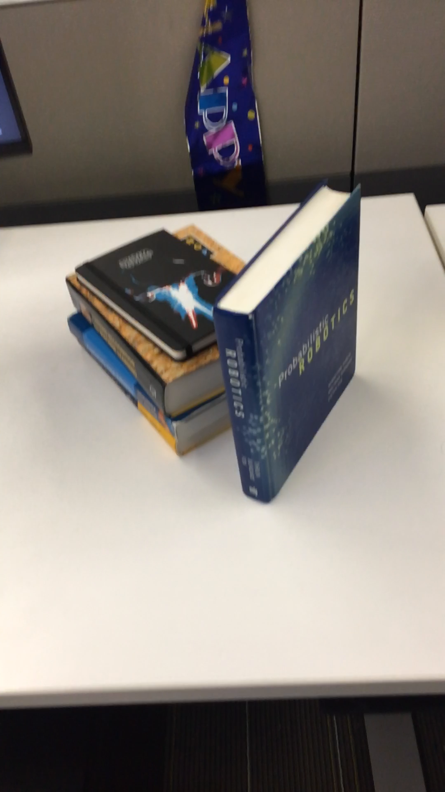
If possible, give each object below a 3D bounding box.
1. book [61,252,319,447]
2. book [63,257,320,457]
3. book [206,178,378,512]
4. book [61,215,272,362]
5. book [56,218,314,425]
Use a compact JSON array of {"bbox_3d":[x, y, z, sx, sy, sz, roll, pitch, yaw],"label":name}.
[{"bbox_3d":[-0.043,-0.068,0.752,0.190,0.030,0.240,-31,49,-22],"label":"book"},{"bbox_3d":[-0.044,-0.062,0.774,0.190,0.030,0.260,-29,49,-21],"label":"book"},{"bbox_3d":[0.073,-0.045,0.616,0.050,0.230,0.210,20,51,25],"label":"book"},{"bbox_3d":[-0.063,-0.122,0.694,0.130,0.020,0.200,-33,50,-24],"label":"book"},{"bbox_3d":[-0.046,-0.096,0.723,0.180,0.050,0.240,-28,49,-20],"label":"book"}]
